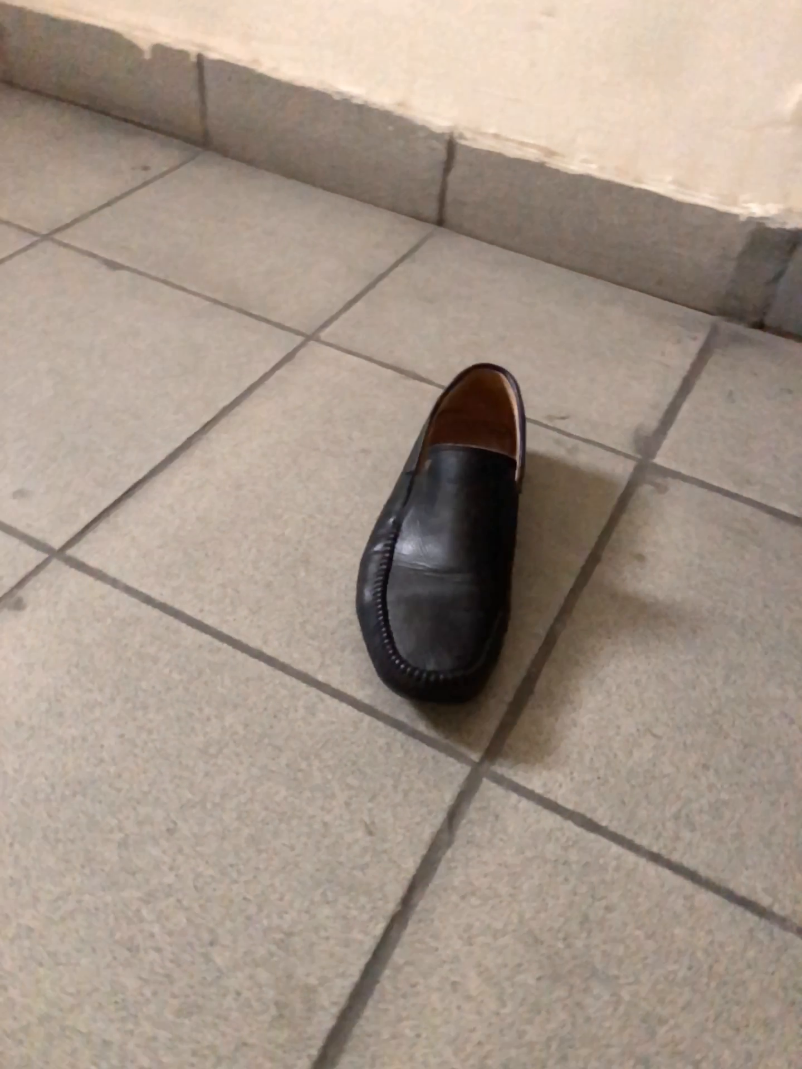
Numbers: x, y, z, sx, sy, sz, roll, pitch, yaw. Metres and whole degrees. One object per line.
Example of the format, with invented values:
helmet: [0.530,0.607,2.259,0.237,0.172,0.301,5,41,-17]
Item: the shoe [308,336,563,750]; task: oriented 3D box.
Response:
shoe: [0.031,-0.012,0.561,0.107,0.079,0.272,11,46,6]
